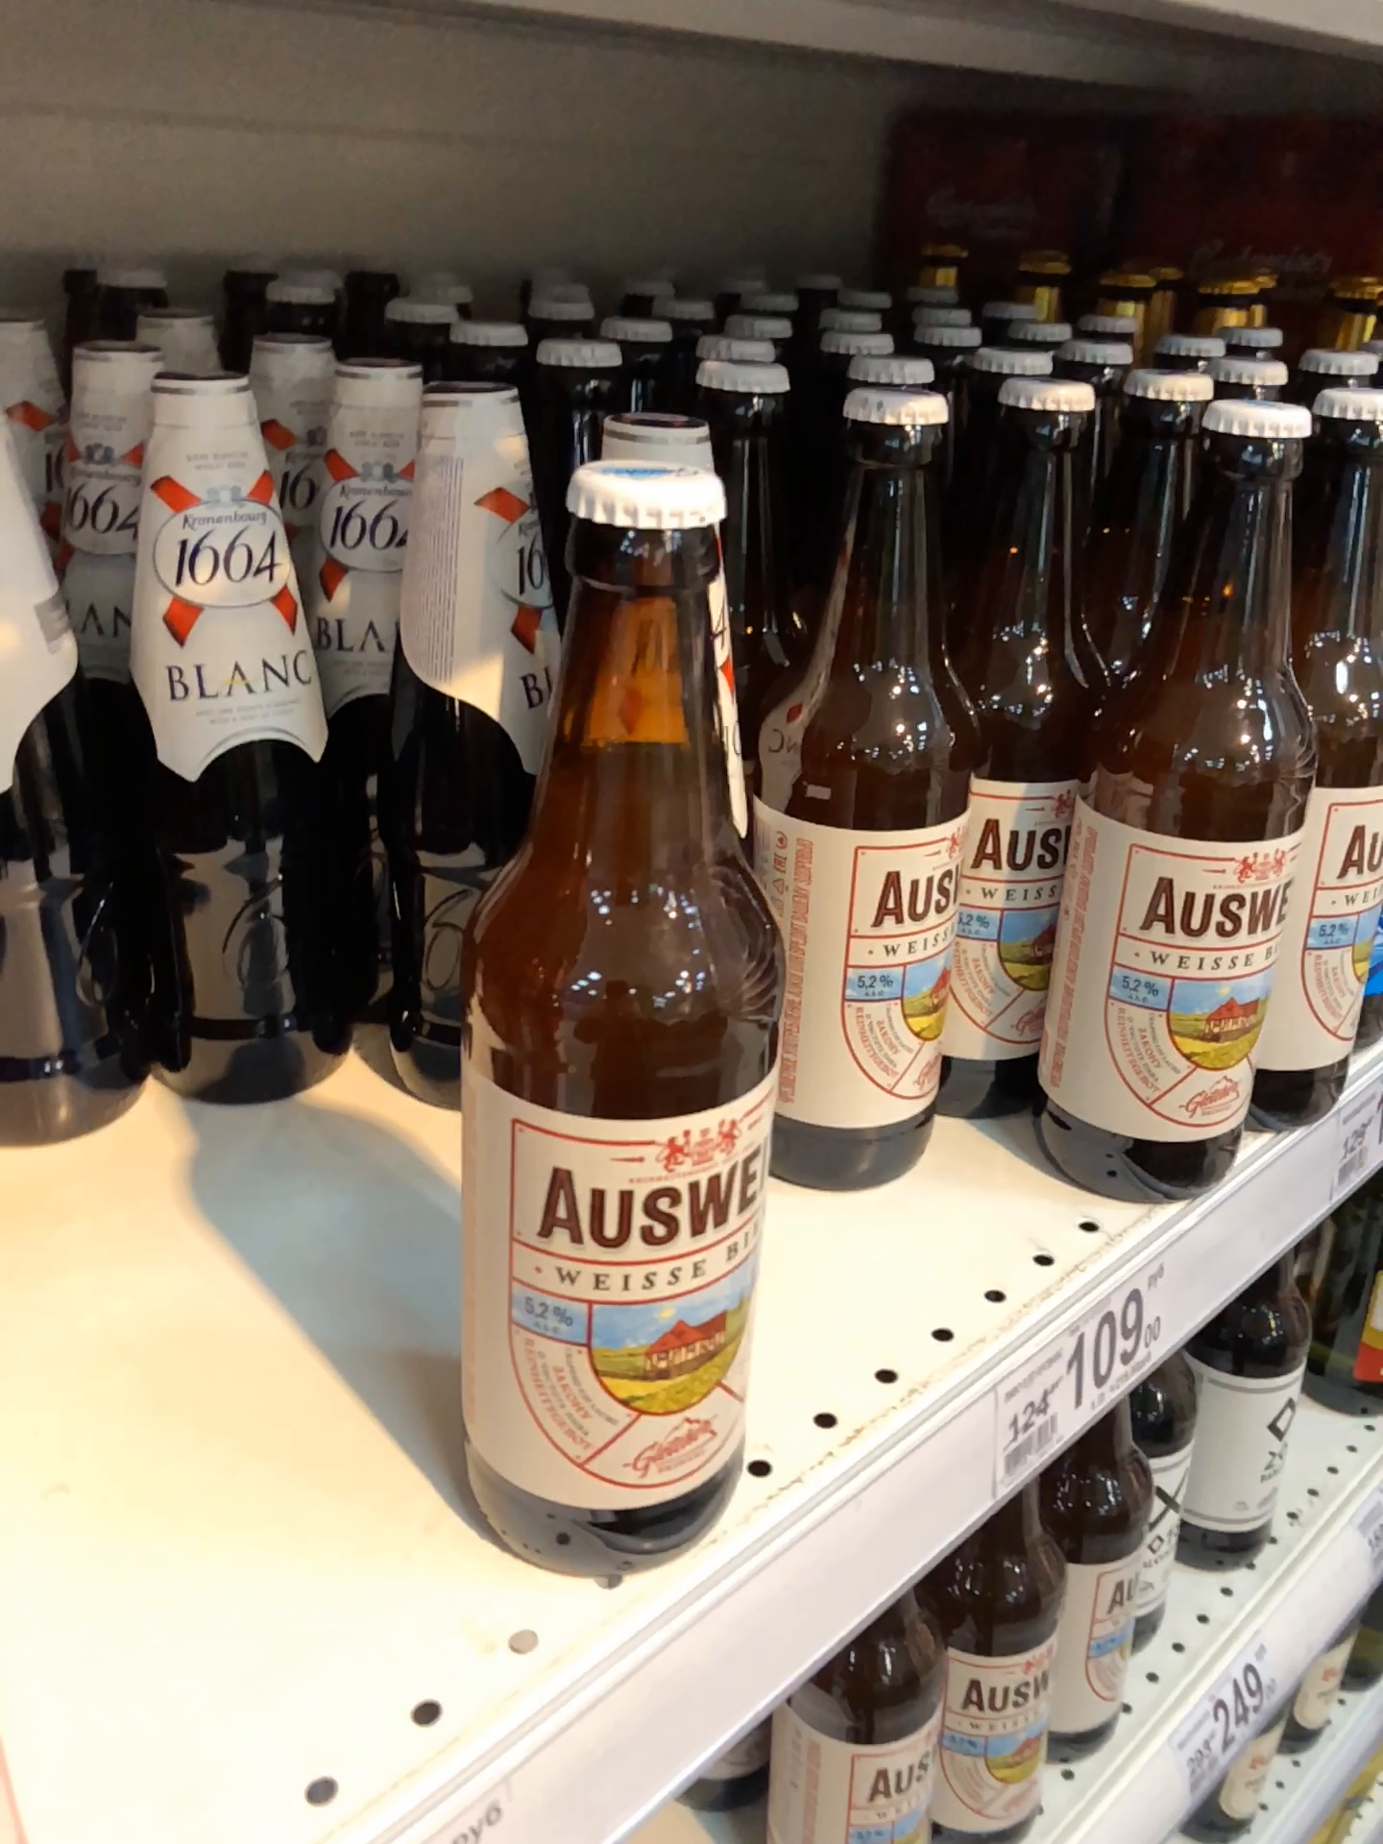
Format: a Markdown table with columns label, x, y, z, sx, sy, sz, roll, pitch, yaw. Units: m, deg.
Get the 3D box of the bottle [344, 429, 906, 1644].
| label | x | y | z | sx | sy | sz | roll | pitch | yaw |
| --- | --- | --- | --- | --- | --- | --- | --- | --- | --- |
| bottle | -0.019 | 0.028 | 0.335 | 0.080 | 0.248 | 0.070 | -12 | 29 | -29 |
